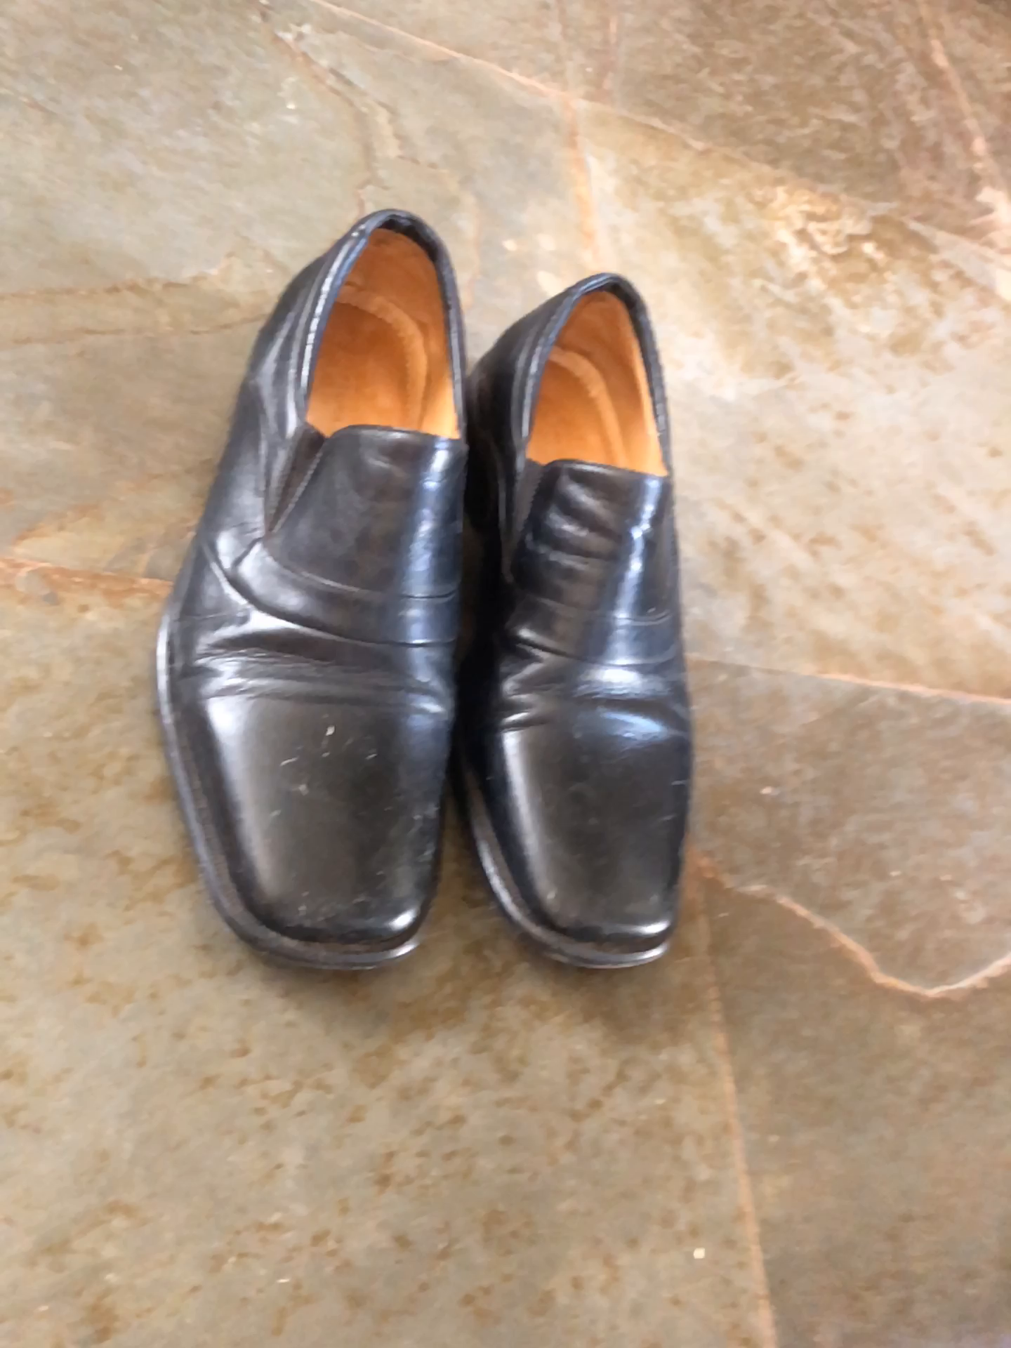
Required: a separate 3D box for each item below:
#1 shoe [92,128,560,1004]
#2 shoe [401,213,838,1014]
[{"bbox_3d":[-0.066,-0.039,0.397,0.110,0.109,0.281,9,59,-23],"label":"shoe"},{"bbox_3d":[0.026,-0.025,0.433,0.100,0.109,0.281,10,59,-23],"label":"shoe"}]
